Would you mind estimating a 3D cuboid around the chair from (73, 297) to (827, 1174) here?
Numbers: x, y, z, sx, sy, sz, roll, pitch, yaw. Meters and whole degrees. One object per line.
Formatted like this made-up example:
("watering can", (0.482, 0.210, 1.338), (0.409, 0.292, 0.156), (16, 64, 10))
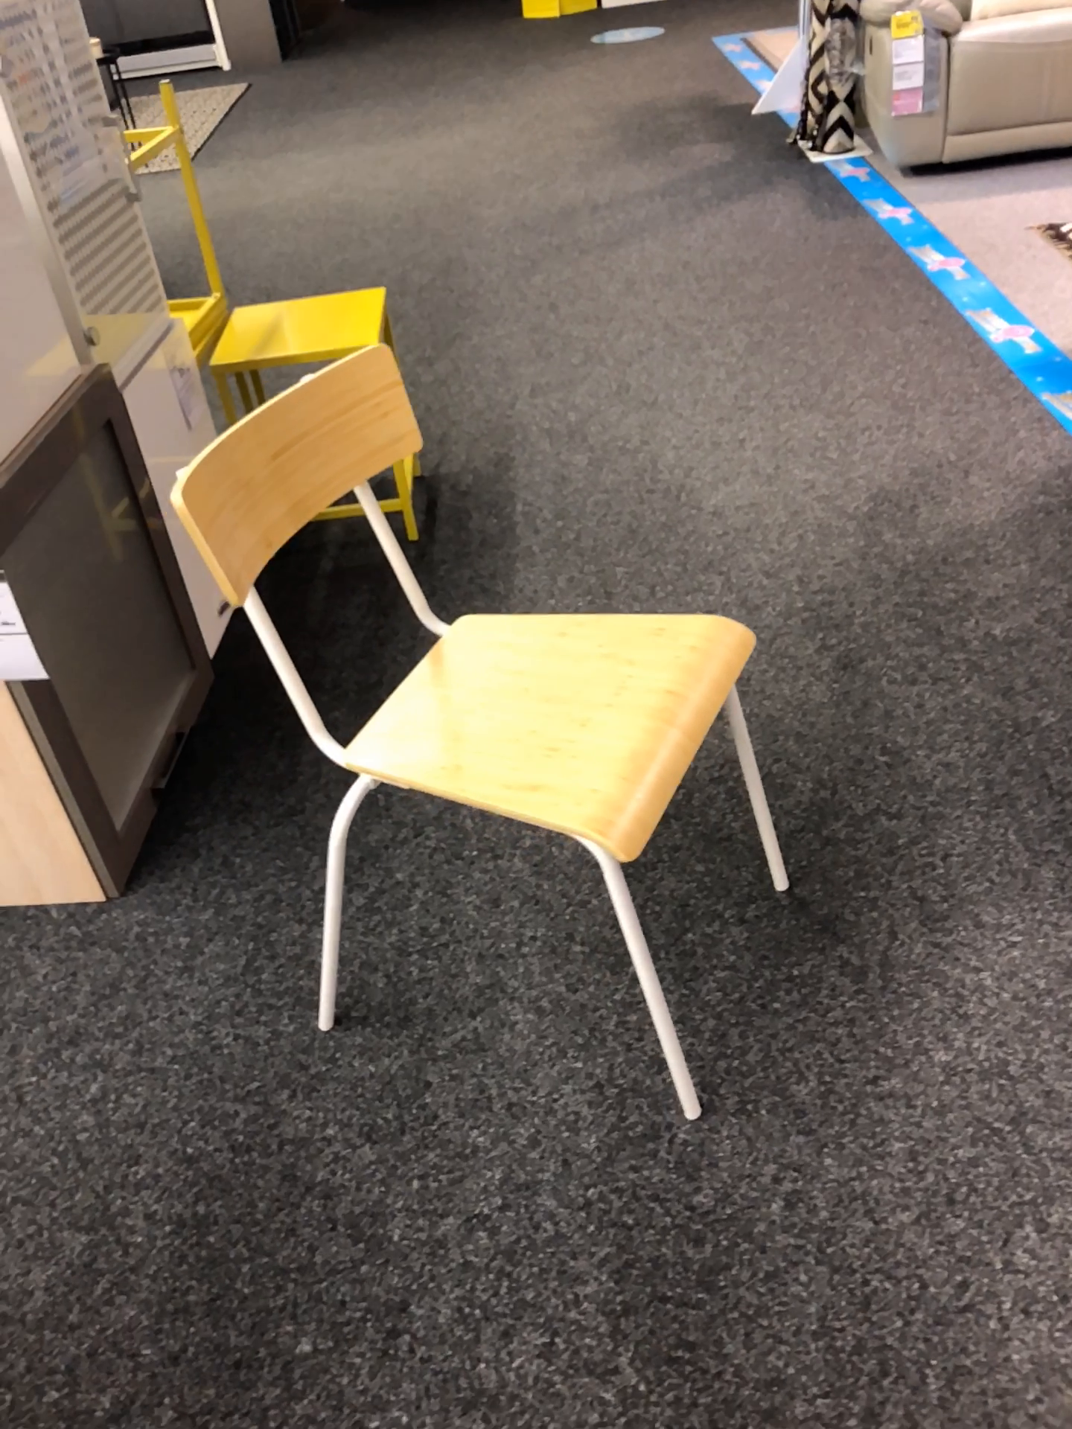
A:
("chair", (-0.008, 0.005, 1.415), (0.580, 0.815, 0.543), (9, 41, 22))
